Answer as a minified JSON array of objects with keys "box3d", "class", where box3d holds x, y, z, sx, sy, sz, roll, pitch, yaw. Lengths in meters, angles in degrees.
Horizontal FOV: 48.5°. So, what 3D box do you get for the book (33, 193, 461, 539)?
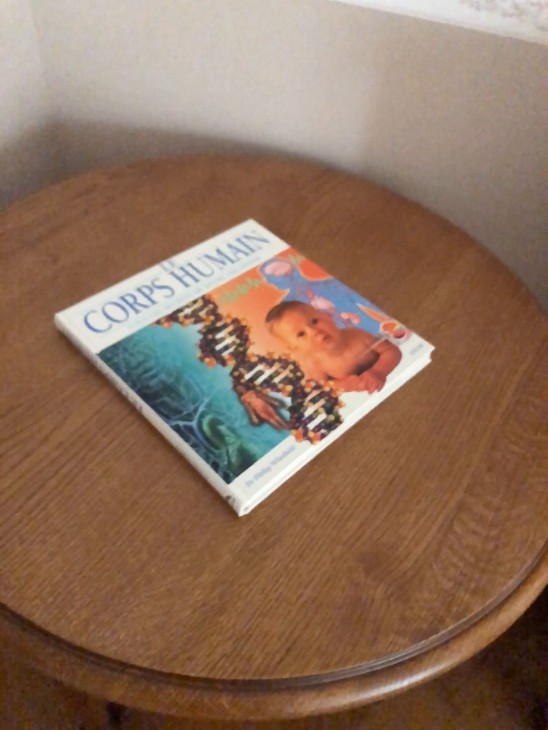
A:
[{"box3d":[-0.023,-0.031,0.576,0.271,0.040,0.290,-34,61,-31],"class":"book"}]
